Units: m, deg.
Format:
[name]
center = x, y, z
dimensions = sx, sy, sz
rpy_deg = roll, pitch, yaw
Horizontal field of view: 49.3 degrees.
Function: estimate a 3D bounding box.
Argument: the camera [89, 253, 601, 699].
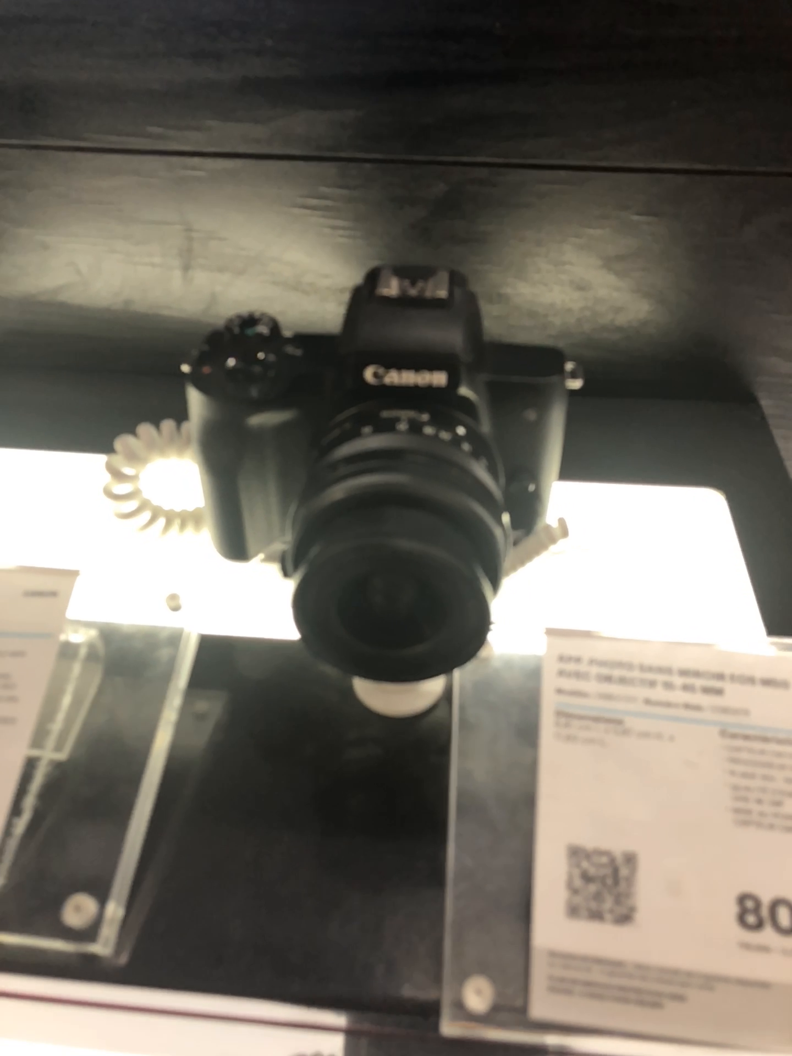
[camera]
center = -0.008, -0.020, 0.265
dimensions = 0.119, 0.089, 0.101
rpy_deg = 3, 38, 4
